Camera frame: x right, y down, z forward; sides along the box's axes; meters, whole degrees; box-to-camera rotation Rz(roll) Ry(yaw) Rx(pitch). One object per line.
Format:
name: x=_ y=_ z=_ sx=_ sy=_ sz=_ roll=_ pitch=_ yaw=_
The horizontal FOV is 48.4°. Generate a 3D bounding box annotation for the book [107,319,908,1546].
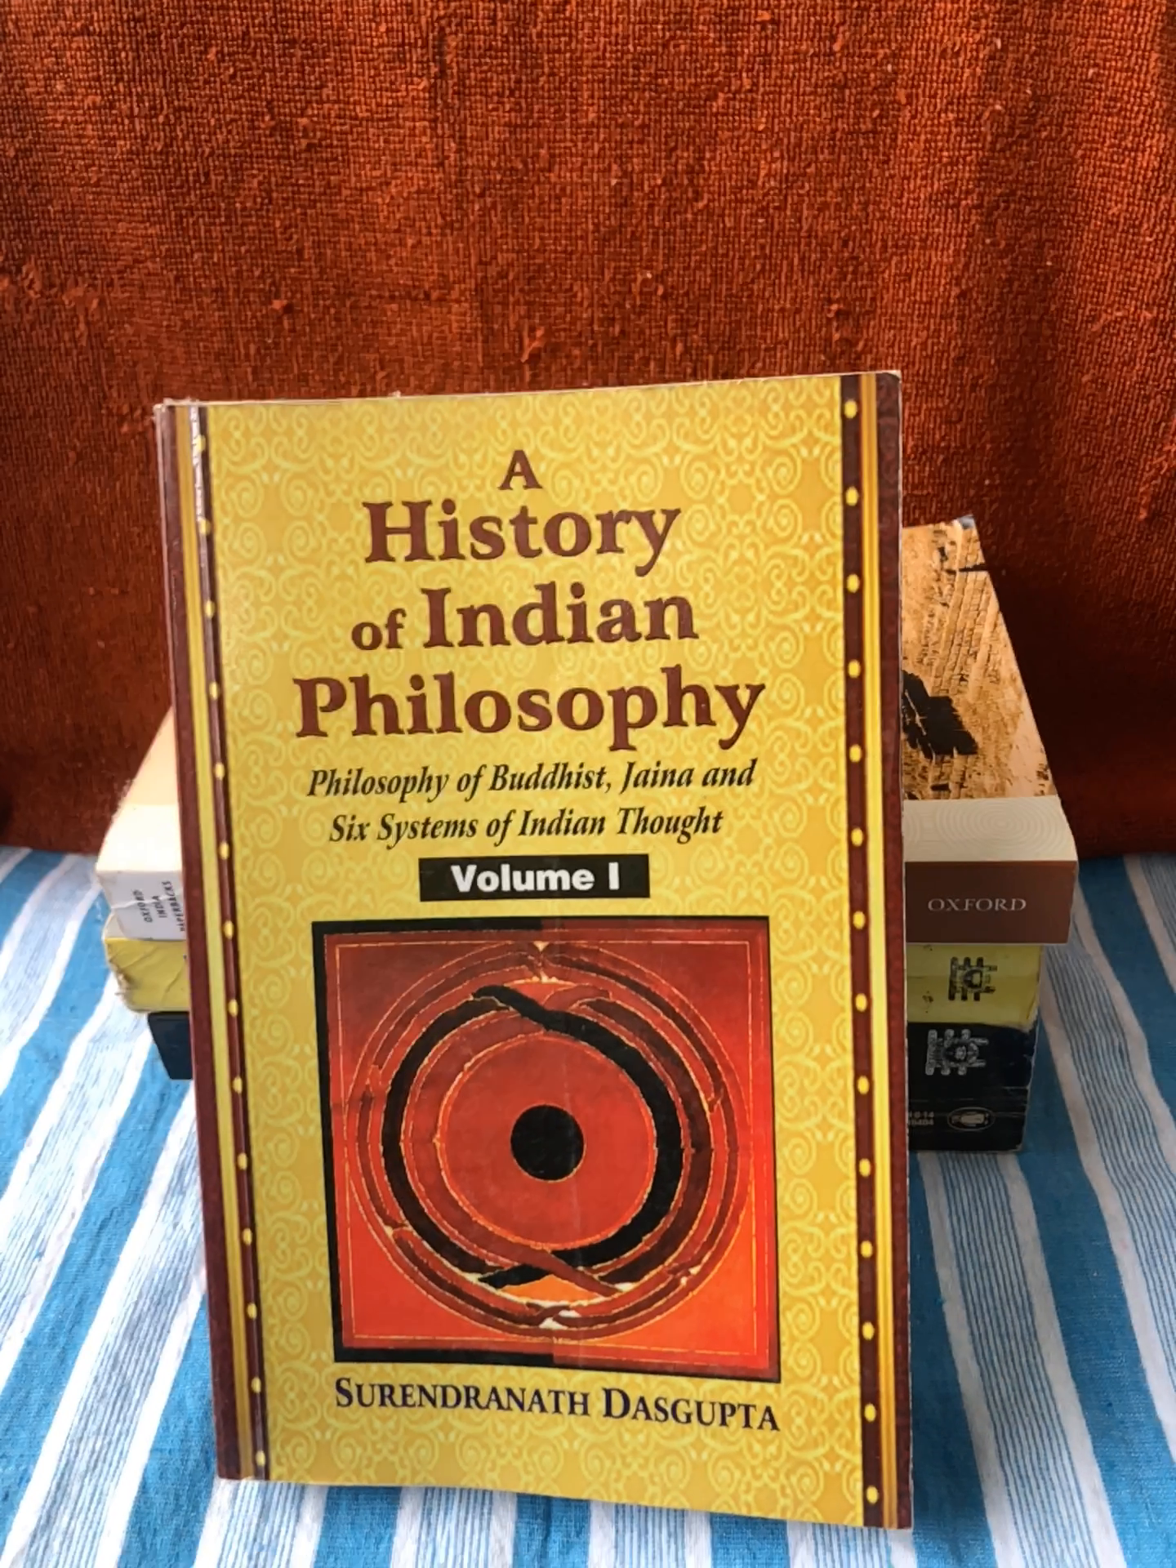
book: x=-0.012 y=0.029 z=0.263 sx=0.141 sy=0.216 sz=0.048 roll=-1 pitch=4 yaw=9
